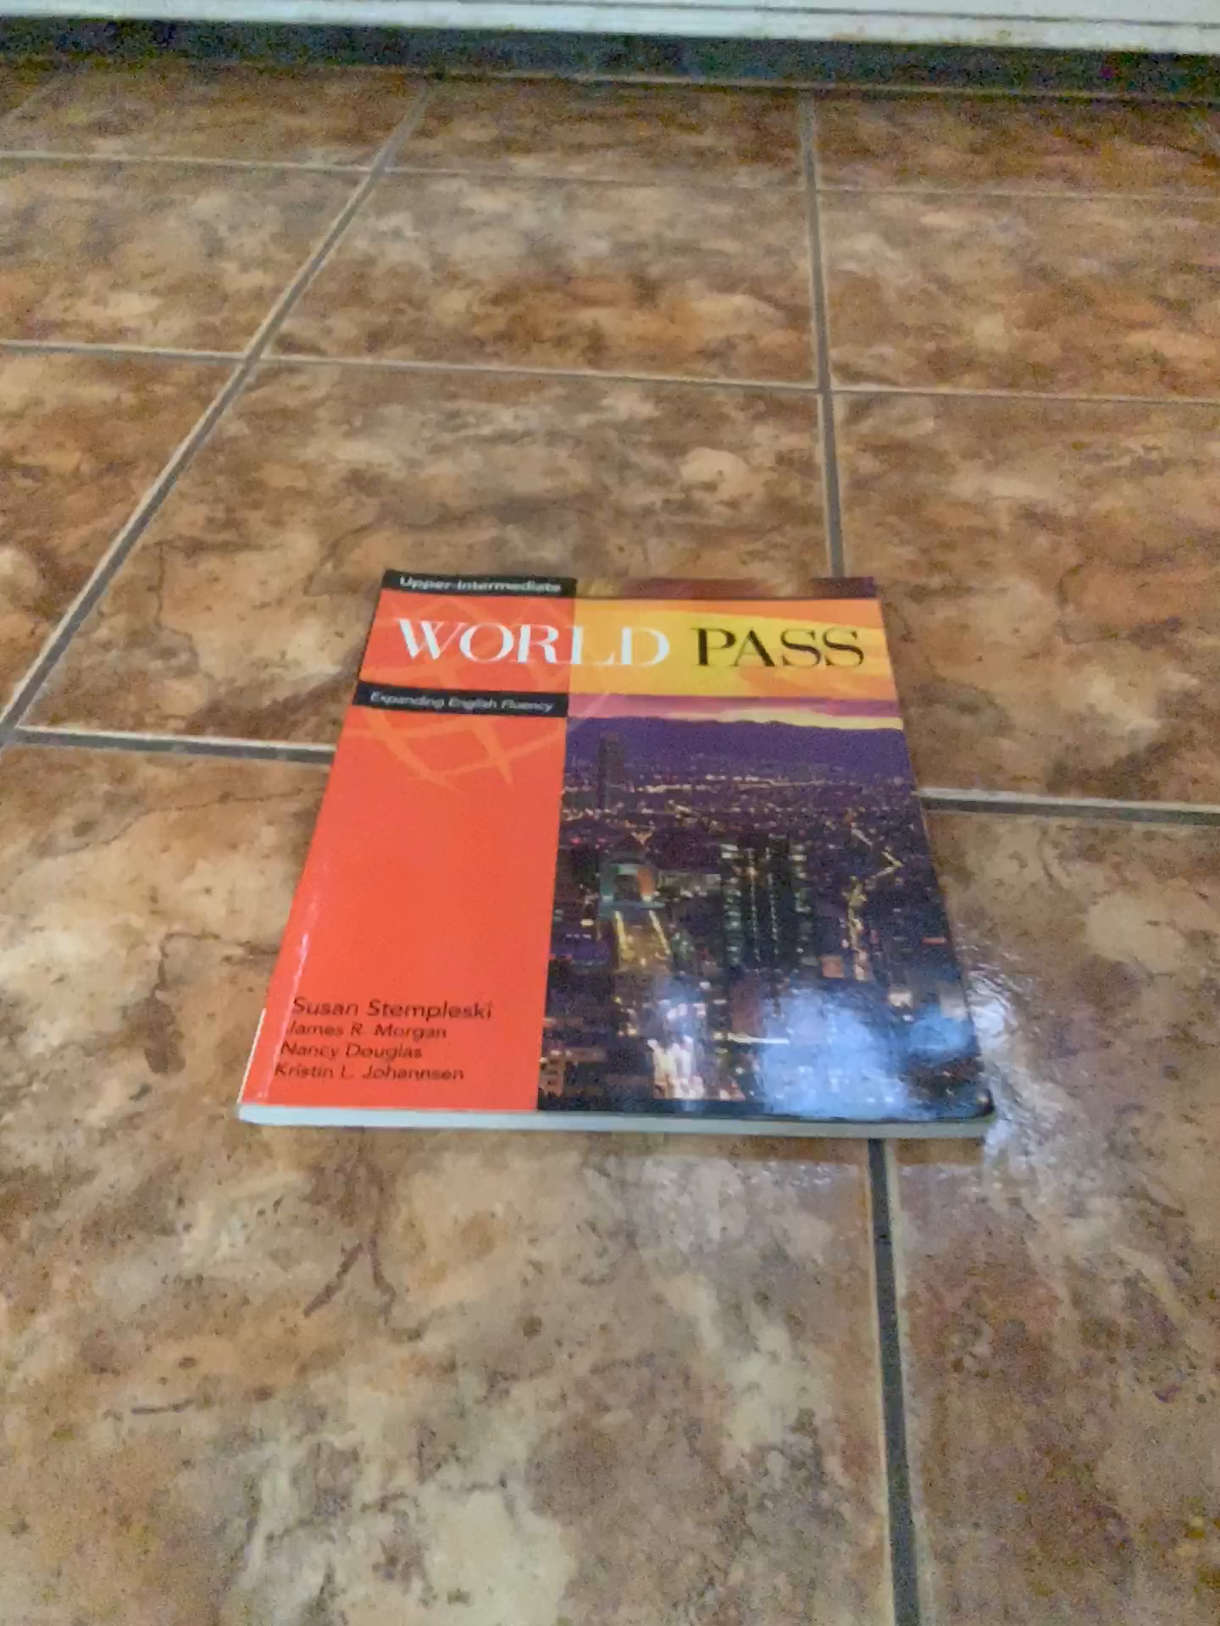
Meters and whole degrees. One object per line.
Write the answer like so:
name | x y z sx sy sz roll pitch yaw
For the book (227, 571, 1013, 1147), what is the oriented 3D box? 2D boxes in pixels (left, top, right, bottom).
book | 0.005 -0.005 0.455 0.219 0.016 0.273 1 43 0
